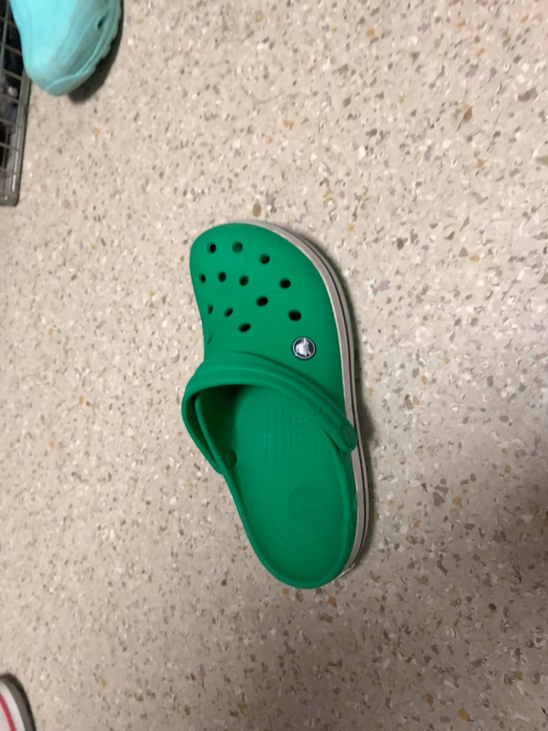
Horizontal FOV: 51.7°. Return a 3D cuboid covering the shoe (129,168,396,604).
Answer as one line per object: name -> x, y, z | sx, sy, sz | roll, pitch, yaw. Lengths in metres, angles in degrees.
shoe -> -0.011, 0.017, 0.362 | 0.108, 0.082, 0.234 | -15, 80, 34
